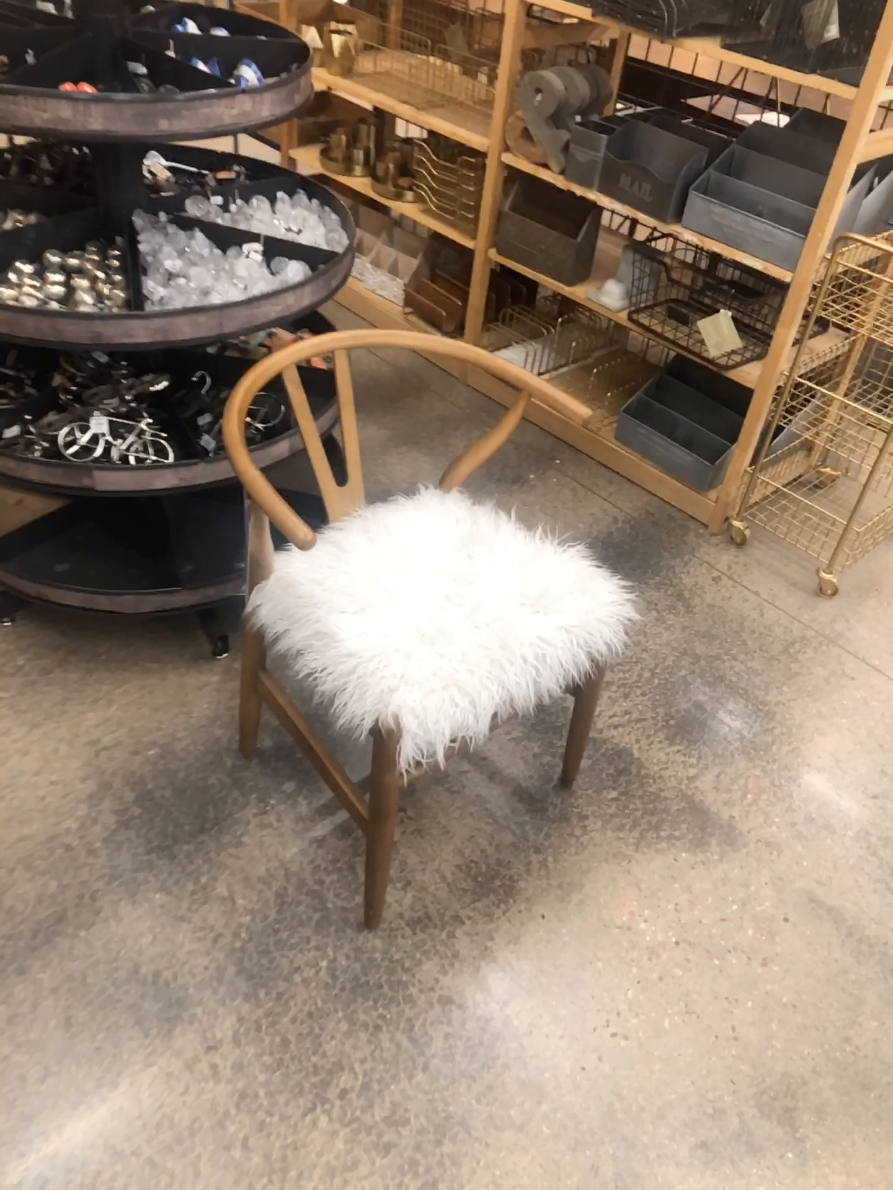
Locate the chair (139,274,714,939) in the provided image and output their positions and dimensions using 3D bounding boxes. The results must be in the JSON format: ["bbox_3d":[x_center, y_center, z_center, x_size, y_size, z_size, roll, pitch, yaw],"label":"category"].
[{"bbox_3d":[-0.063,-0.001,1.525,0.559,0.731,0.529,-25,50,-32],"label":"chair"}]
